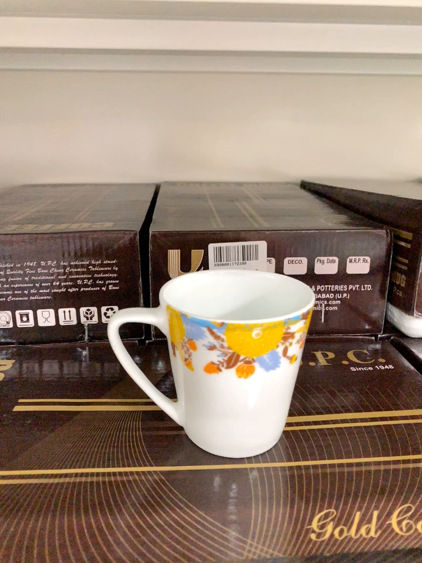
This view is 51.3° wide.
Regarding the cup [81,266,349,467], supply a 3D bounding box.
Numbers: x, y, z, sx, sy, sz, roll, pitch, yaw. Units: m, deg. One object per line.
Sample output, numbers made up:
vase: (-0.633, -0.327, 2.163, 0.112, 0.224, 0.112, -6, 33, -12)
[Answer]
cup: (0.000, 0.031, 0.191, 0.092, 0.058, 0.068, -1, 18, -3)
